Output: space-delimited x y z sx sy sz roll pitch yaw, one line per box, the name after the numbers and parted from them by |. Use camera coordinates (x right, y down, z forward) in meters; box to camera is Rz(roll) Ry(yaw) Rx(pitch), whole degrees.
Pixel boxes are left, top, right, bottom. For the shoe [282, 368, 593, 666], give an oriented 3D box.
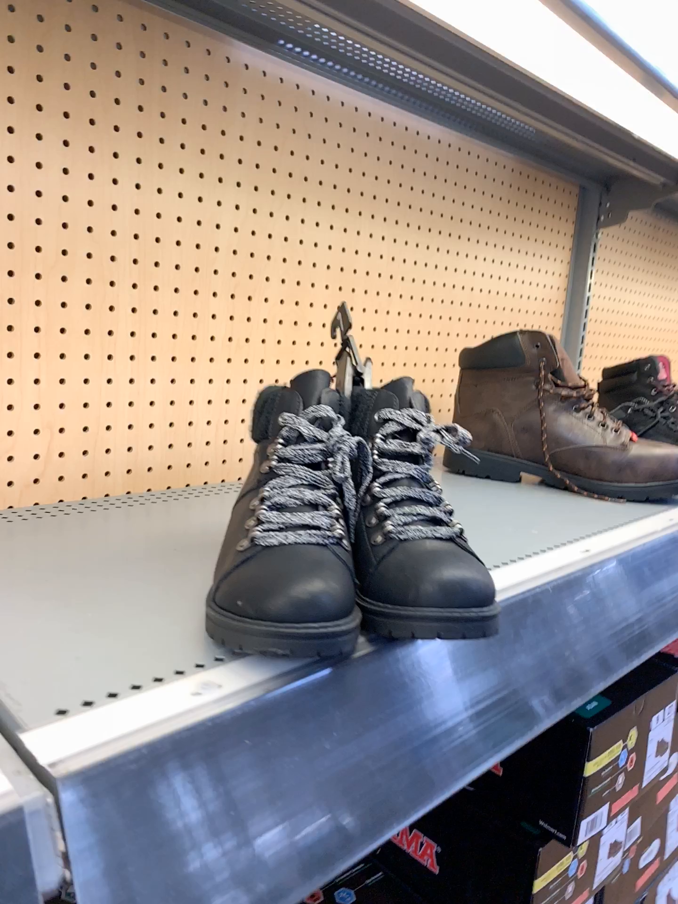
0.045 0.024 0.481 0.105 0.137 0.231 1 11 -20 | shoe

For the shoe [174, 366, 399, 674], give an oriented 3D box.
-0.029 0.023 0.466 0.104 0.137 0.236 5 10 -1 | shoe
